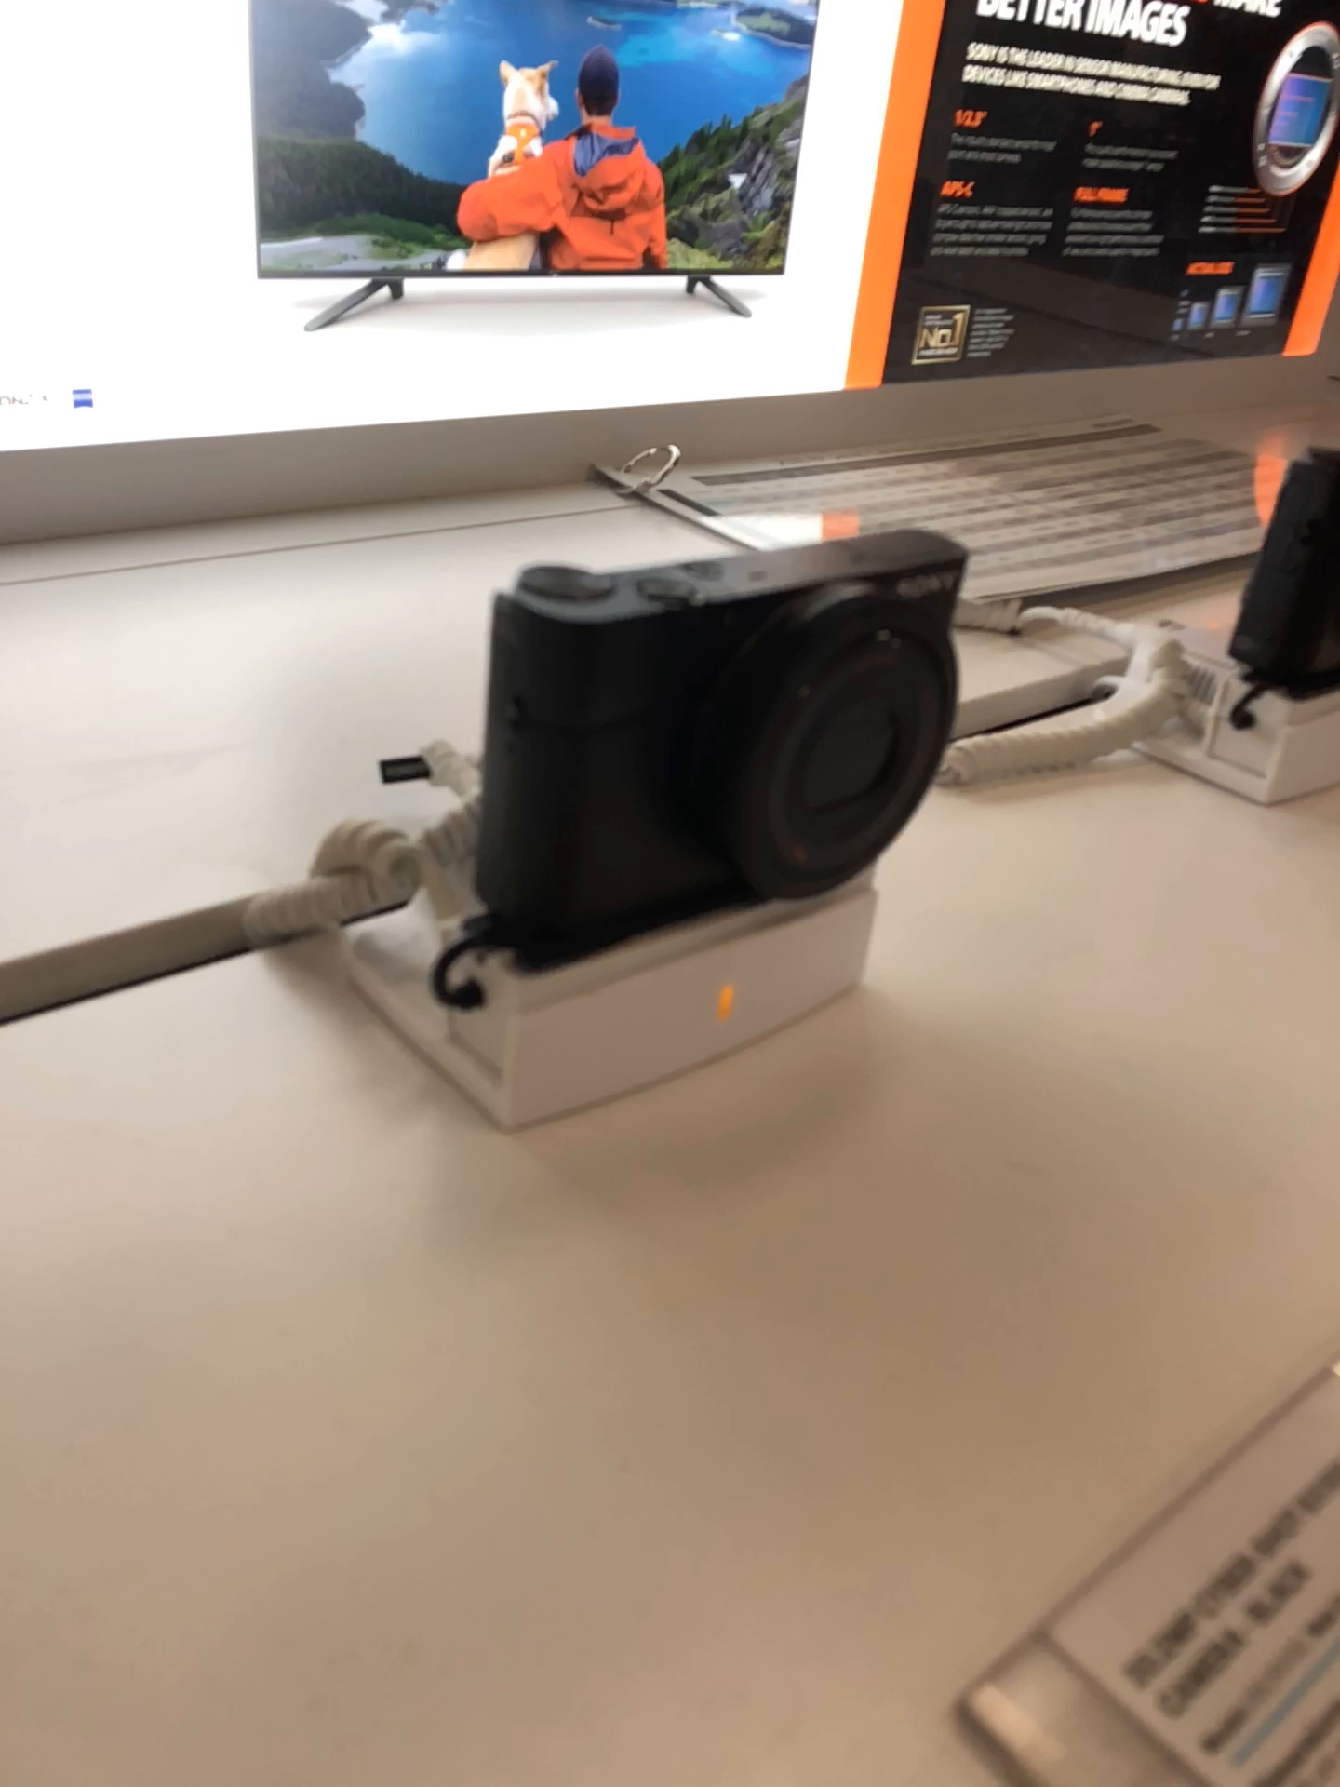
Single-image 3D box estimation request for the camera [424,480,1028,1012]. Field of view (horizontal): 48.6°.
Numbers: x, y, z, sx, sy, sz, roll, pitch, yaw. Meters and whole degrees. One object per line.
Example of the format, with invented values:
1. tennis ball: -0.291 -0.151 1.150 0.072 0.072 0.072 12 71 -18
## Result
1. camera: 0.011 -0.031 0.267 0.110 0.070 0.030 -18 37 -37
